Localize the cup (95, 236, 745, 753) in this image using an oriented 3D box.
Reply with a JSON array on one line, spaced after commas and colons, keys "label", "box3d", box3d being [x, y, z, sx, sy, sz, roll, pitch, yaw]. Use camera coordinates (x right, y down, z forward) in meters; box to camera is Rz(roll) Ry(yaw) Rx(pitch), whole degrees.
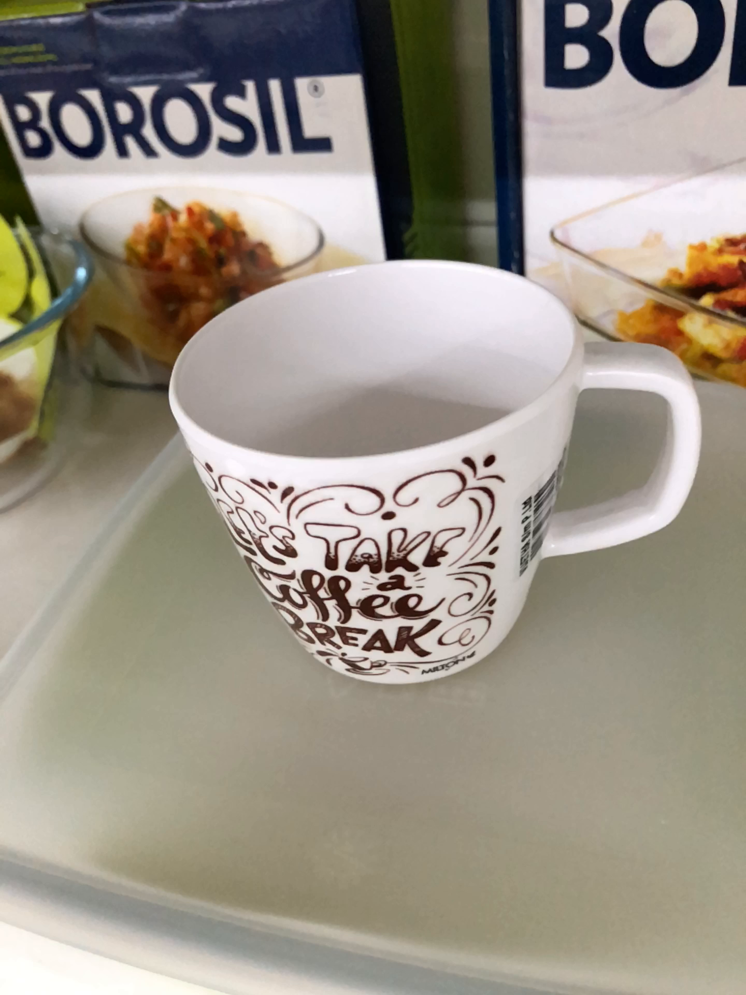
[{"label": "cup", "box3d": [0.015, -0.003, 0.170, 0.100, 0.070, 0.070, 0, 38, 11]}]
